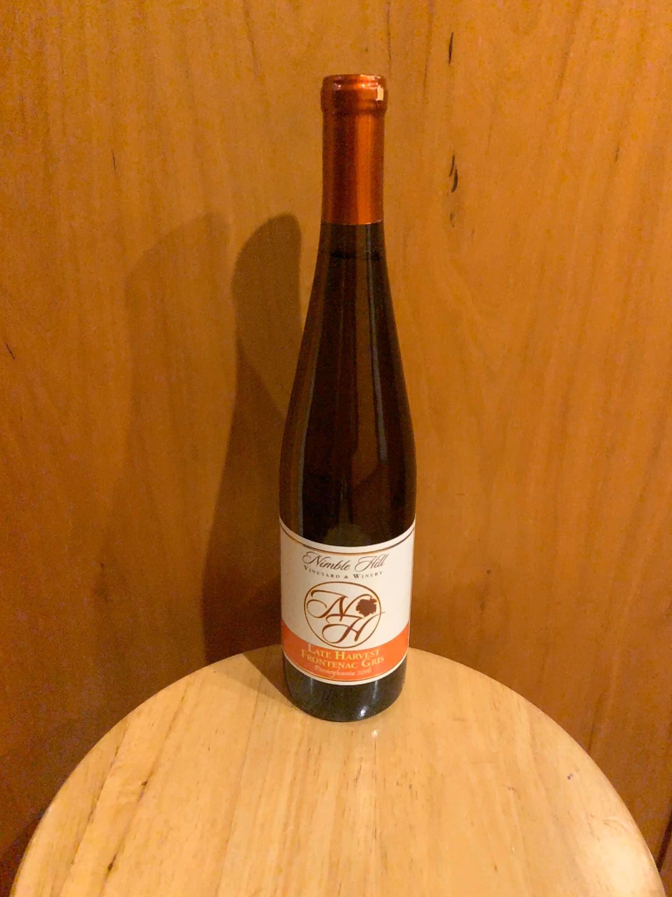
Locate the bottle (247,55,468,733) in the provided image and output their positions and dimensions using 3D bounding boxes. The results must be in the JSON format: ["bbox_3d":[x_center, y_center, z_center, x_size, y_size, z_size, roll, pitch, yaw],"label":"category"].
[{"bbox_3d":[0.007,-0.005,0.346,0.080,0.328,0.060,1,24,1],"label":"bottle"}]
